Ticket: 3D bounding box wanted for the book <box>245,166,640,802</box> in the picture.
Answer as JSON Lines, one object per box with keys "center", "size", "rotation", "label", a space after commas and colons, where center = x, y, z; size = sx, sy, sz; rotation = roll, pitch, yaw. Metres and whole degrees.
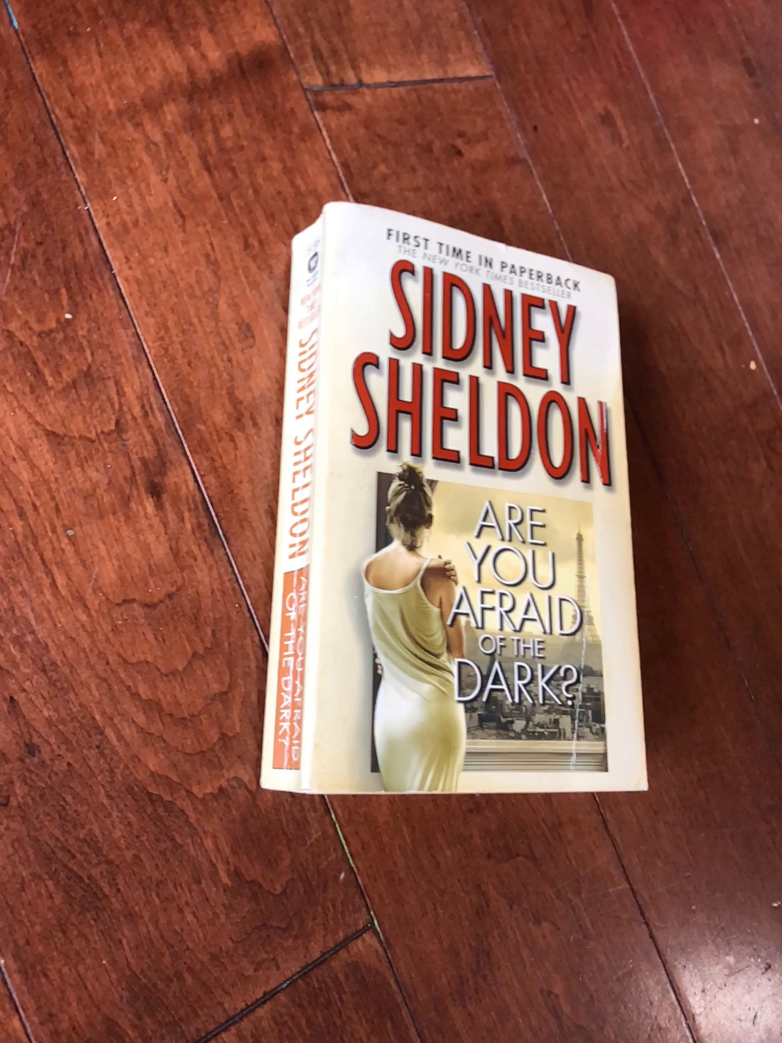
{"center": [0.018, -0.007, 0.275], "size": [0.108, 0.040, 0.180], "rotation": [8, 74, -23], "label": "book"}
